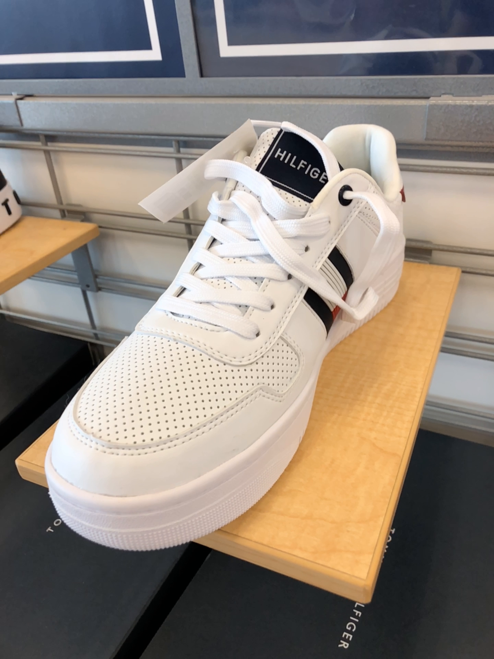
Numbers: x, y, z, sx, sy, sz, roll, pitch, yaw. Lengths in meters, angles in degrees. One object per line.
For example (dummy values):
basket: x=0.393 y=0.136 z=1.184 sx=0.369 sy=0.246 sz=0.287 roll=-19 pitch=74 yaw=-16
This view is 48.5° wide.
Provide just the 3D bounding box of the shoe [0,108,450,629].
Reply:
shoe: x=0.009 y=-0.025 z=0.285 sx=0.107 sy=0.113 sz=0.282 roll=14 pitch=36 yaw=28
